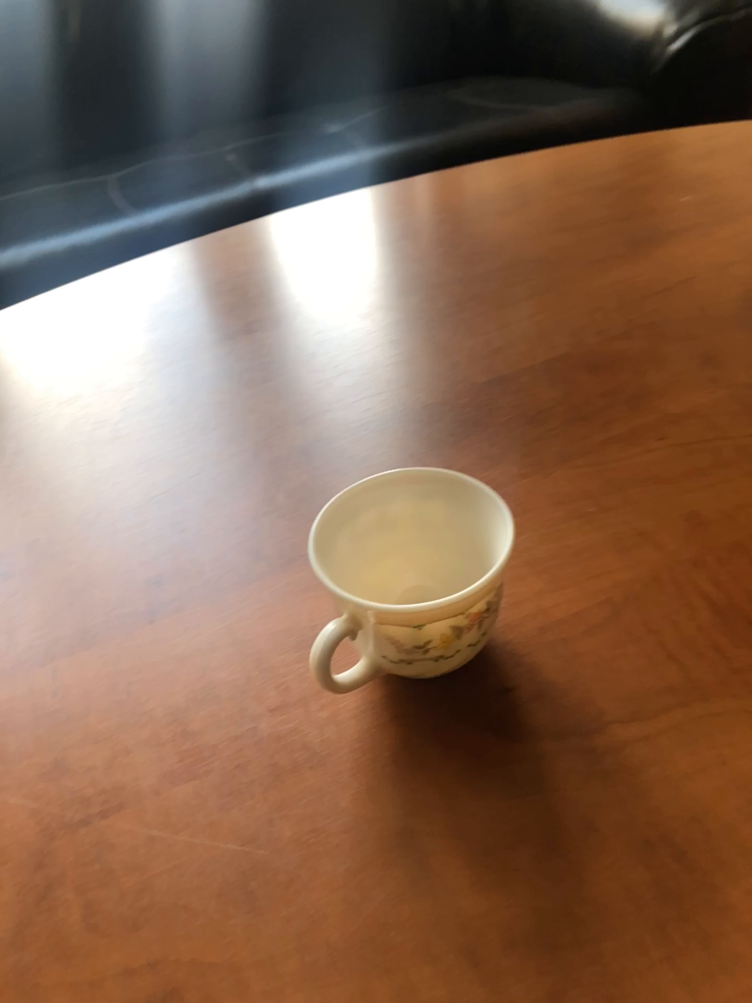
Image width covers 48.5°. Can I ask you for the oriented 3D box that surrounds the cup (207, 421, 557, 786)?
[{"bbox_3d":[0.006,0.026,0.253,0.063,0.048,0.084,22,49,32],"label":"cup"}]
